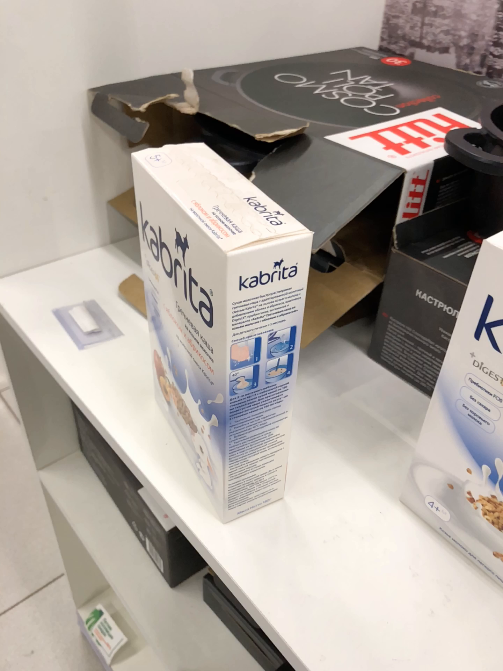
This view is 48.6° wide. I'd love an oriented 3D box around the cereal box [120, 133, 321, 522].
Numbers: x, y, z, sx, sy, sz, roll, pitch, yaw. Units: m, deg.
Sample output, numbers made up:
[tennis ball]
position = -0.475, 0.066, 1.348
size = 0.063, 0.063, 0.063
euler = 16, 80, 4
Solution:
[cereal box]
position = -0.028, -0.004, 0.356
size = 0.050, 0.199, 0.141
euler = -16, 41, -24
